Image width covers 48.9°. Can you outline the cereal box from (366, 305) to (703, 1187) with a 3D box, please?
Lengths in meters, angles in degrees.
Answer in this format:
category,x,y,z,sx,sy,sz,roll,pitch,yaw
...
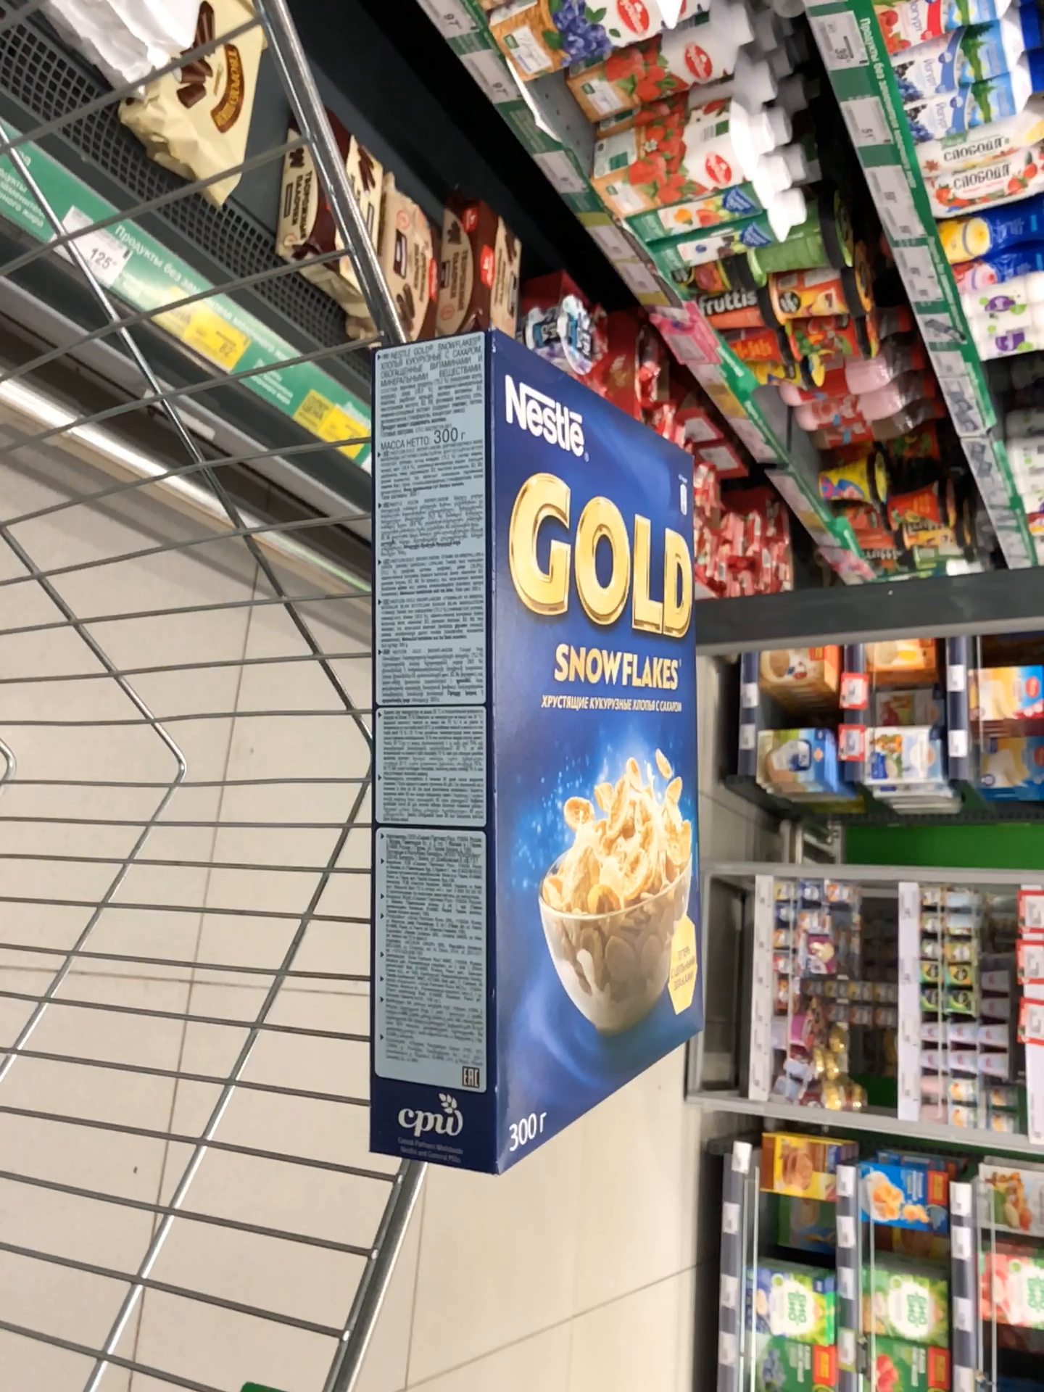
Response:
category,x,y,z,sx,sy,sz,roll,pitch,yaw
cereal box,0.016,0.016,0.453,0.201,0.050,0.270,3,85,-66
